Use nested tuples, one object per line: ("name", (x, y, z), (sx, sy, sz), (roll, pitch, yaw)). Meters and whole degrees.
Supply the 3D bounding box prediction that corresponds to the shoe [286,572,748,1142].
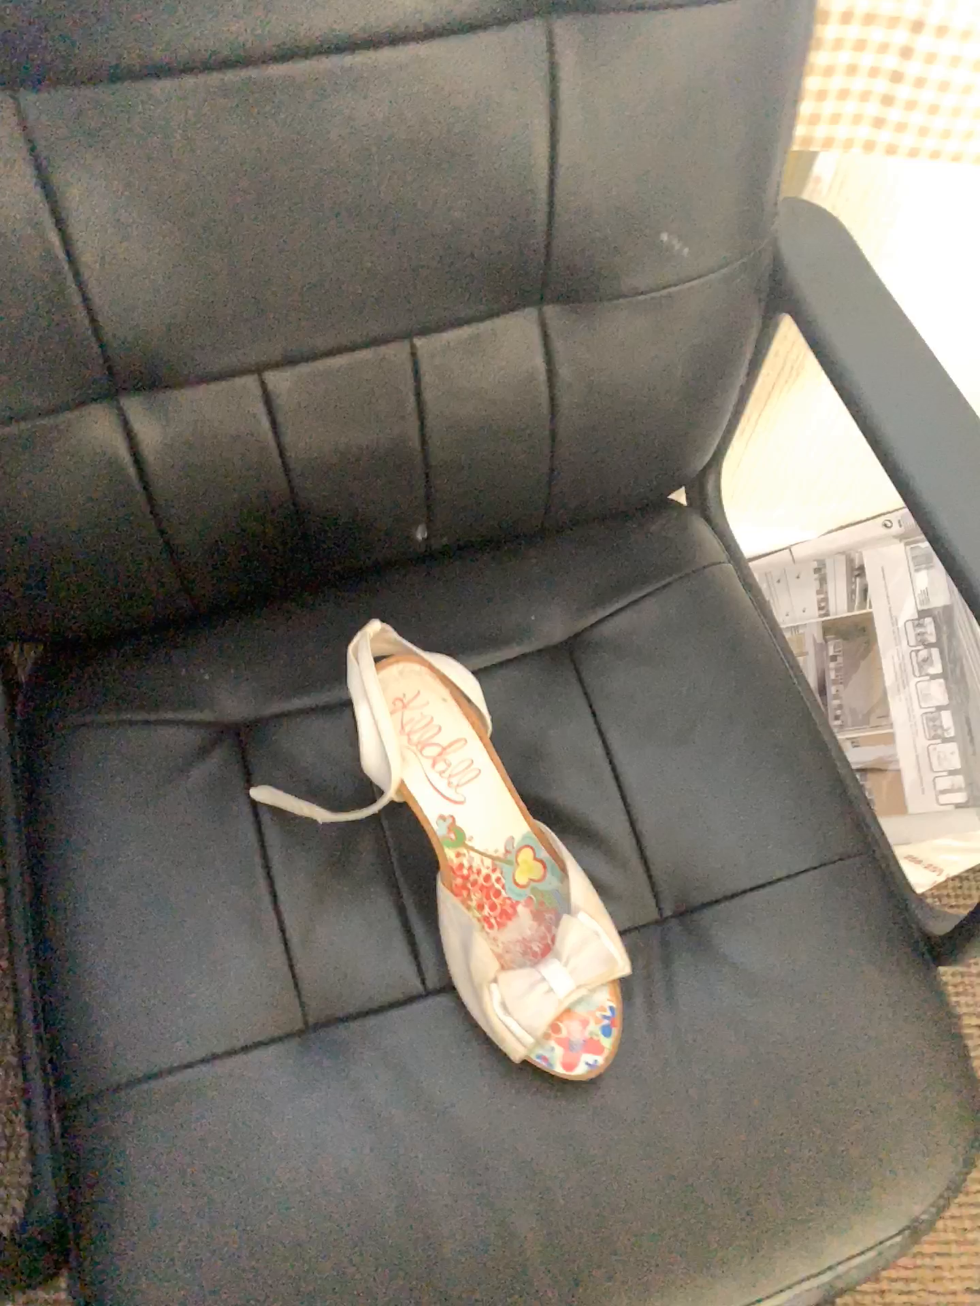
("shoe", (-0.001, 0.117, 0.535), (0.100, 0.189, 0.241), (-26, 68, -16))
